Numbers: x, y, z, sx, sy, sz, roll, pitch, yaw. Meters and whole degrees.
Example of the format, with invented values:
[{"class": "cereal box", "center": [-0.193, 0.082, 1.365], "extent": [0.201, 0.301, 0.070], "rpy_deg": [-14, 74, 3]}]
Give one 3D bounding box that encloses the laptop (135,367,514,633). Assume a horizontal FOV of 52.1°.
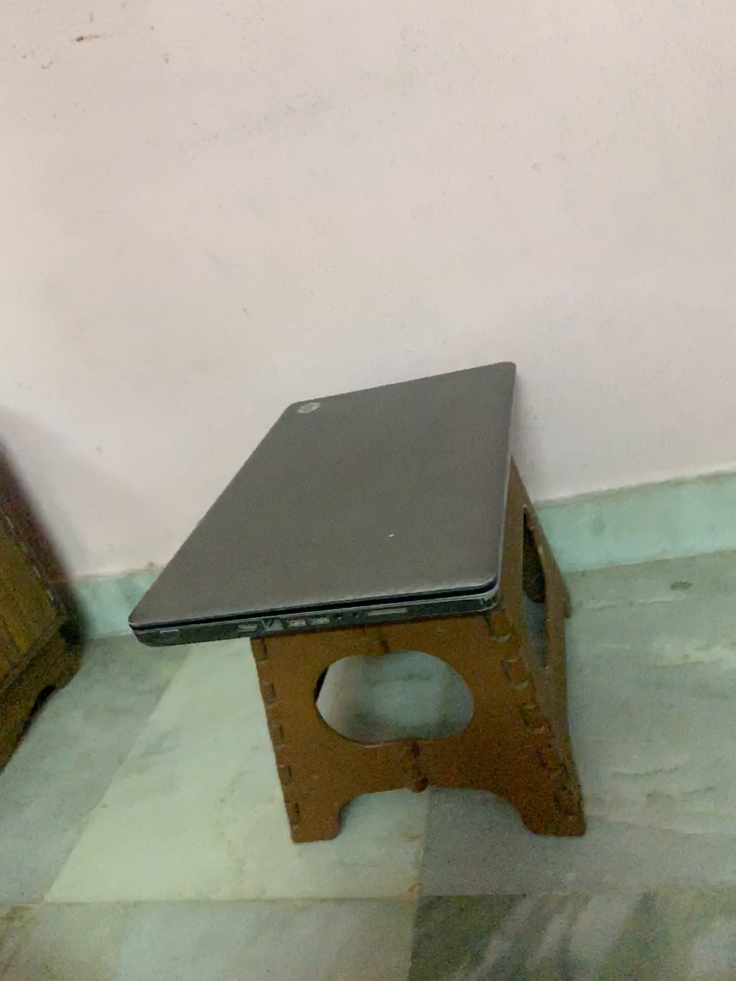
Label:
[{"class": "laptop", "center": [-0.005, -0.014, 0.635], "extent": [0.242, 0.003, 0.380], "rpy_deg": [-9, 27, 18]}]
